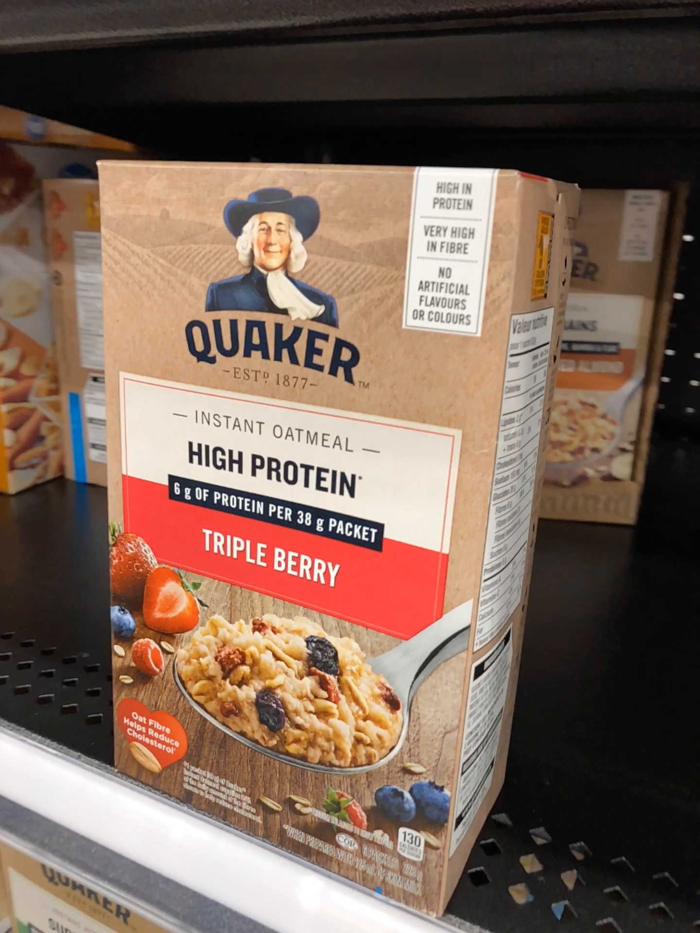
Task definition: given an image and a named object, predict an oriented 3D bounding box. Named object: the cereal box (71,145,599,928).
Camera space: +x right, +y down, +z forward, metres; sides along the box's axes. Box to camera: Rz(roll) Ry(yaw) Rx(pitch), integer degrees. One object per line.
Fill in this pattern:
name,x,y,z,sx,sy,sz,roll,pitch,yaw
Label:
cereal box,-0.009,0.011,0.244,0.130,0.199,0.070,11,17,25
